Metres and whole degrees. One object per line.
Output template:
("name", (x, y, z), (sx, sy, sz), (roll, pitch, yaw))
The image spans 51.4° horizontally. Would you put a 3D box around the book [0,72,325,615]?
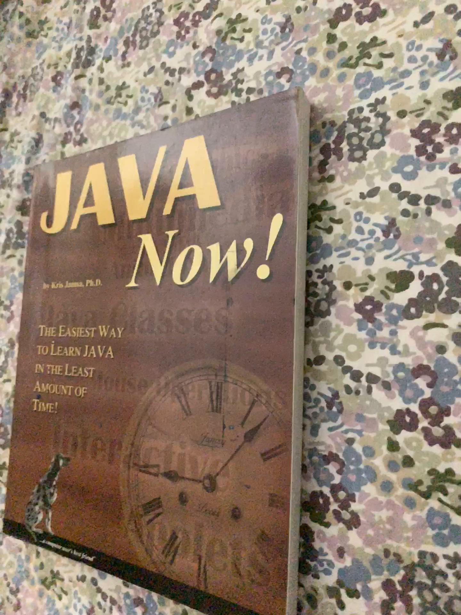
("book", (-0.058, 0.029, 0.272), (0.221, 0.030, 0.260), (-1, 84, 32))
